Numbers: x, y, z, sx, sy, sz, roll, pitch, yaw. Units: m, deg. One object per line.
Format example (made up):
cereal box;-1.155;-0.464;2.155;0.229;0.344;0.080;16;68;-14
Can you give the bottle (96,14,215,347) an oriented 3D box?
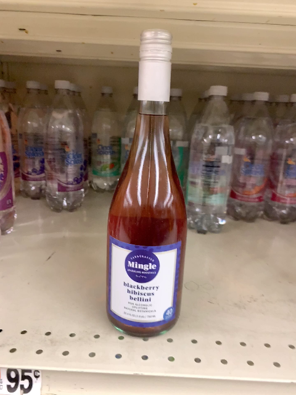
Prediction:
bottle;0.003;-0.006;0.311;0.090;0.299;0.080;5;17;6
